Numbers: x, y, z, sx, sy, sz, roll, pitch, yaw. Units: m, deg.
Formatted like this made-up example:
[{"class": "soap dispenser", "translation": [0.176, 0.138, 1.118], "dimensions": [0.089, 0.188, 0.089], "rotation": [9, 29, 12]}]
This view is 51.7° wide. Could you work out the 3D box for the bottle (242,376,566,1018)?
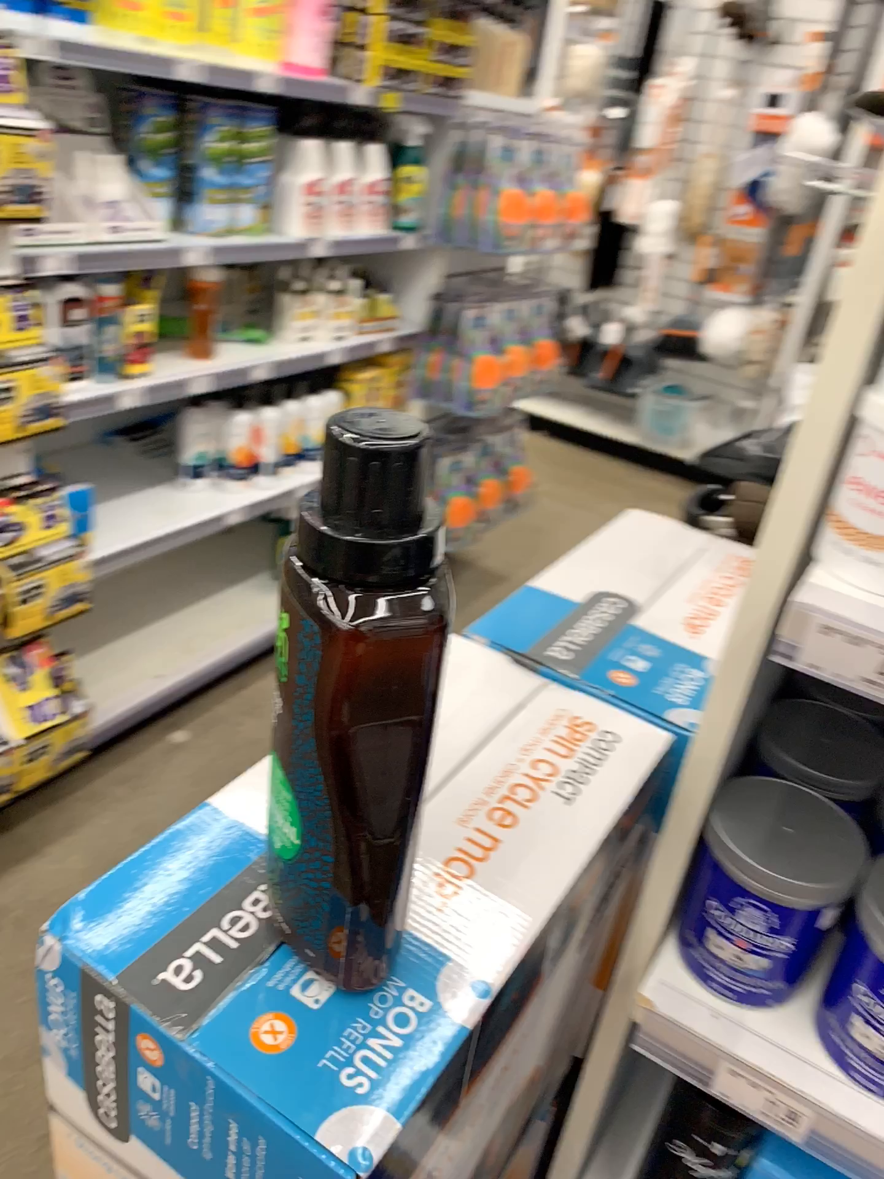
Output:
[{"class": "bottle", "translation": [-0.028, 0.040, 0.339], "dimensions": [0.070, 0.209, 0.100], "rotation": [-1, 30, -20]}]
